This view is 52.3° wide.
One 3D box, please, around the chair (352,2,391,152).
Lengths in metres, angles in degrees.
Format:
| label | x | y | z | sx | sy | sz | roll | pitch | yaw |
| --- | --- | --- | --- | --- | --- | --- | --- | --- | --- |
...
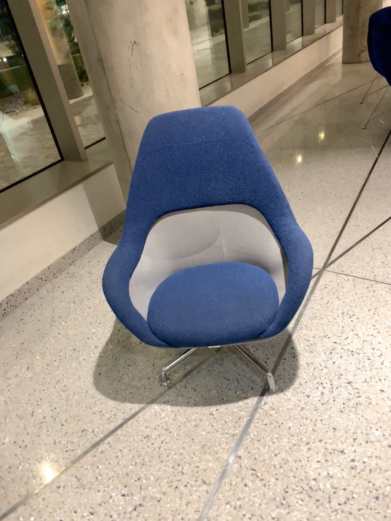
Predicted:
| label | x | y | z | sx | sy | sz | roll | pitch | yaw |
| --- | --- | --- | --- | --- | --- | --- | --- | --- | --- |
| chair | 1.734 | -1.436 | 3.103 | 0.694 | 0.854 | 0.684 | -12 | 32 | -1 |

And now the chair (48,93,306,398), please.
| label | x | y | z | sx | sy | sz | roll | pitch | yaw |
| --- | --- | --- | --- | --- | --- | --- | --- | --- | --- |
| chair | 0.048 | -0.046 | 1.600 | 0.715 | 0.961 | 0.639 | -2 | 33 | 14 |
